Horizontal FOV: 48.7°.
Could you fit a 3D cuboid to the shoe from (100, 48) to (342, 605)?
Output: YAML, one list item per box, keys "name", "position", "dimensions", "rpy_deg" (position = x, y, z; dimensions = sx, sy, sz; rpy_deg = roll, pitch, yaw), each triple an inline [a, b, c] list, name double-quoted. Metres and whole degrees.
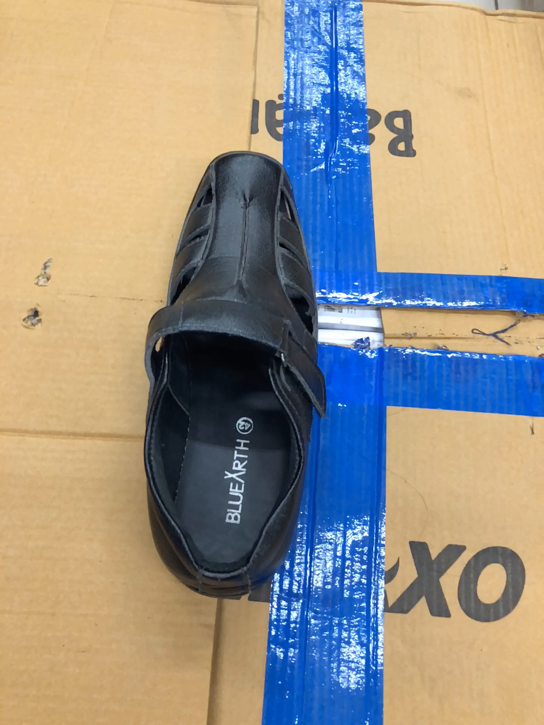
- name: "shoe"
  position: [-0.020, -0.025, 0.350]
  dimensions: [0.100, 0.097, 0.304]
  rpy_deg: [2, 69, -2]
